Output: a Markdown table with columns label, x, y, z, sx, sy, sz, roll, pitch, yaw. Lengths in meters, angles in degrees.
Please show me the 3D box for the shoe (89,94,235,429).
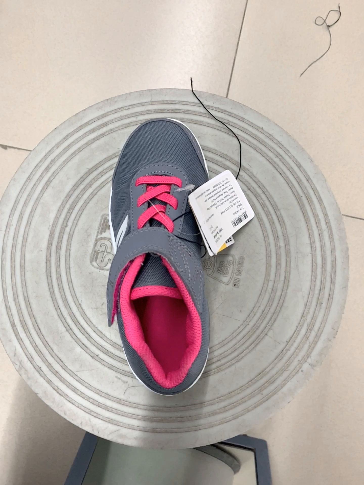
| label | x | y | z | sx | sy | sz | roll | pitch | yaw |
| --- | --- | --- | --- | --- | --- | --- | --- | --- | --- |
| shoe | -0.013 | 0.011 | 0.236 | 0.070 | 0.090 | 0.170 | -2 | 81 | 0 |
